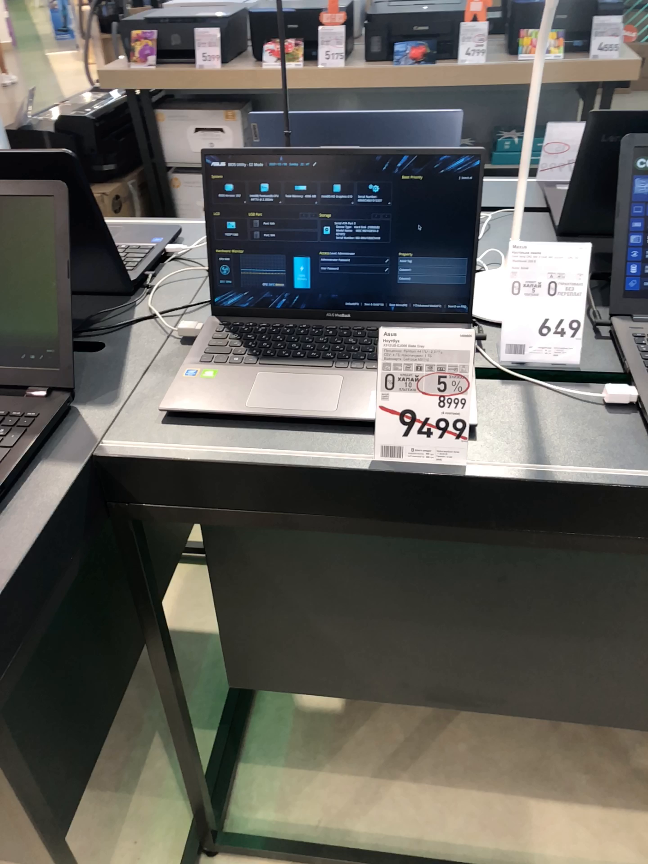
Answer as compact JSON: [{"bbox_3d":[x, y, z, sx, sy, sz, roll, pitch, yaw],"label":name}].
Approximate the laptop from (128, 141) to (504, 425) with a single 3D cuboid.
[{"bbox_3d":[0.007,-0.186,0.827,0.355,0.200,0.288,3,37,10],"label":"laptop"}]
